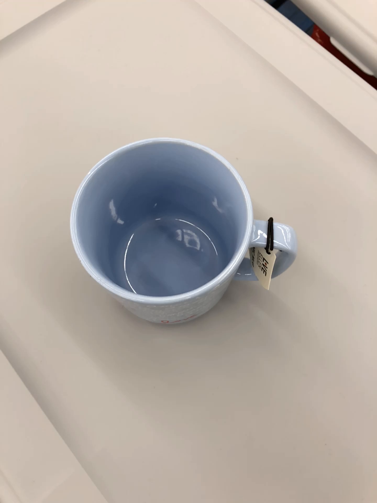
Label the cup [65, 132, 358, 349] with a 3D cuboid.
[{"bbox_3d":[0.014,-0.002,0.256,0.140,0.080,0.100,4,70,2],"label":"cup"}]
